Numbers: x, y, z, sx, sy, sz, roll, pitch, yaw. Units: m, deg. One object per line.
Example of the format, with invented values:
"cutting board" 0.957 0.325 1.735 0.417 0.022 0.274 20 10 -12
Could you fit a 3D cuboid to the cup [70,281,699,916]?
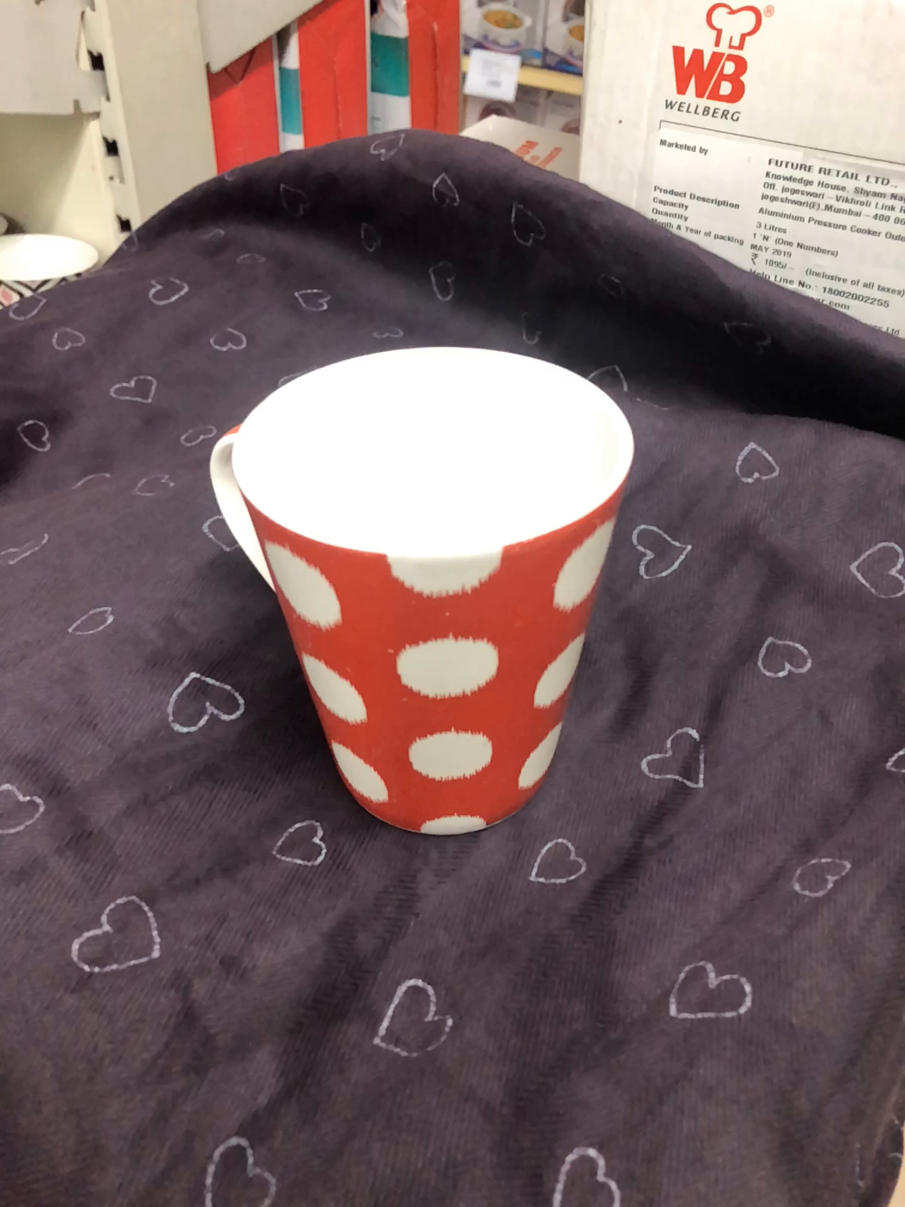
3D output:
"cup" -0.013 -0.006 0.257 0.110 0.099 0.090 20 44 19
